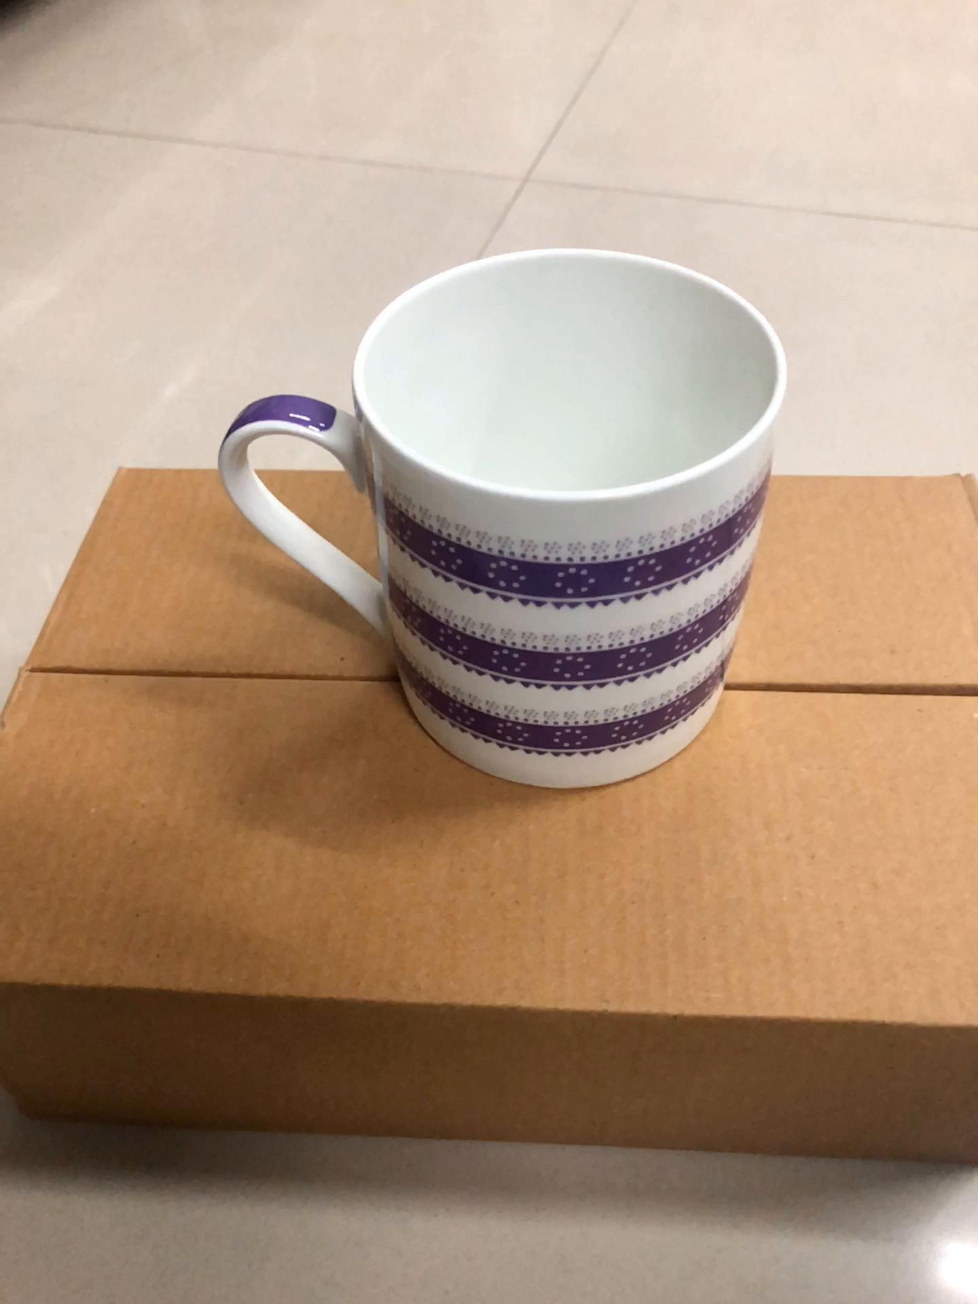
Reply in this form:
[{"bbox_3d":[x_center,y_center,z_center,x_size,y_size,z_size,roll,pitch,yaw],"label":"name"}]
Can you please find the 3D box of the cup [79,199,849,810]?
[{"bbox_3d":[-0.001,-0.032,0.233,0.120,0.089,0.091,2,48,4],"label":"cup"}]
